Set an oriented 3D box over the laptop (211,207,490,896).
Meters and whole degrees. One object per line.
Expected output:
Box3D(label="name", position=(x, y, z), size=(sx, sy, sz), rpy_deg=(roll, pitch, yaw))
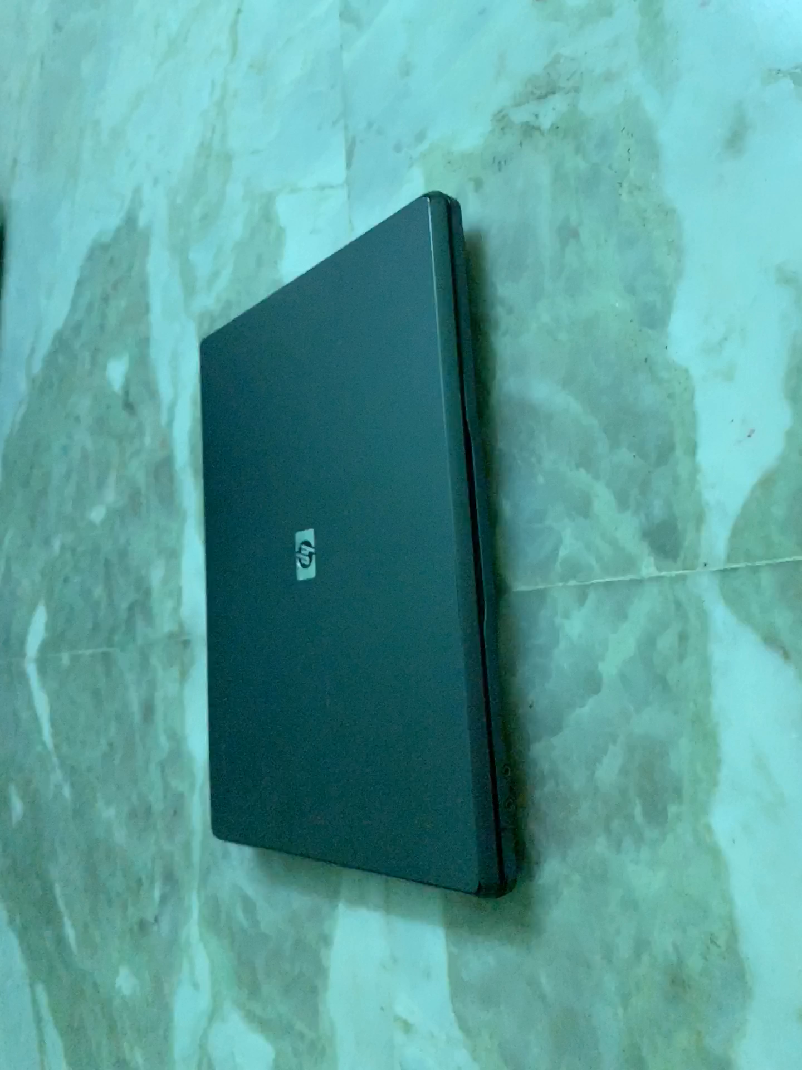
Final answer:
Box3D(label="laptop", position=(-0.046, 0.014, 0.457), size=(0.228, 0.001, 0.310), rpy_deg=(-13, 78, 49))
